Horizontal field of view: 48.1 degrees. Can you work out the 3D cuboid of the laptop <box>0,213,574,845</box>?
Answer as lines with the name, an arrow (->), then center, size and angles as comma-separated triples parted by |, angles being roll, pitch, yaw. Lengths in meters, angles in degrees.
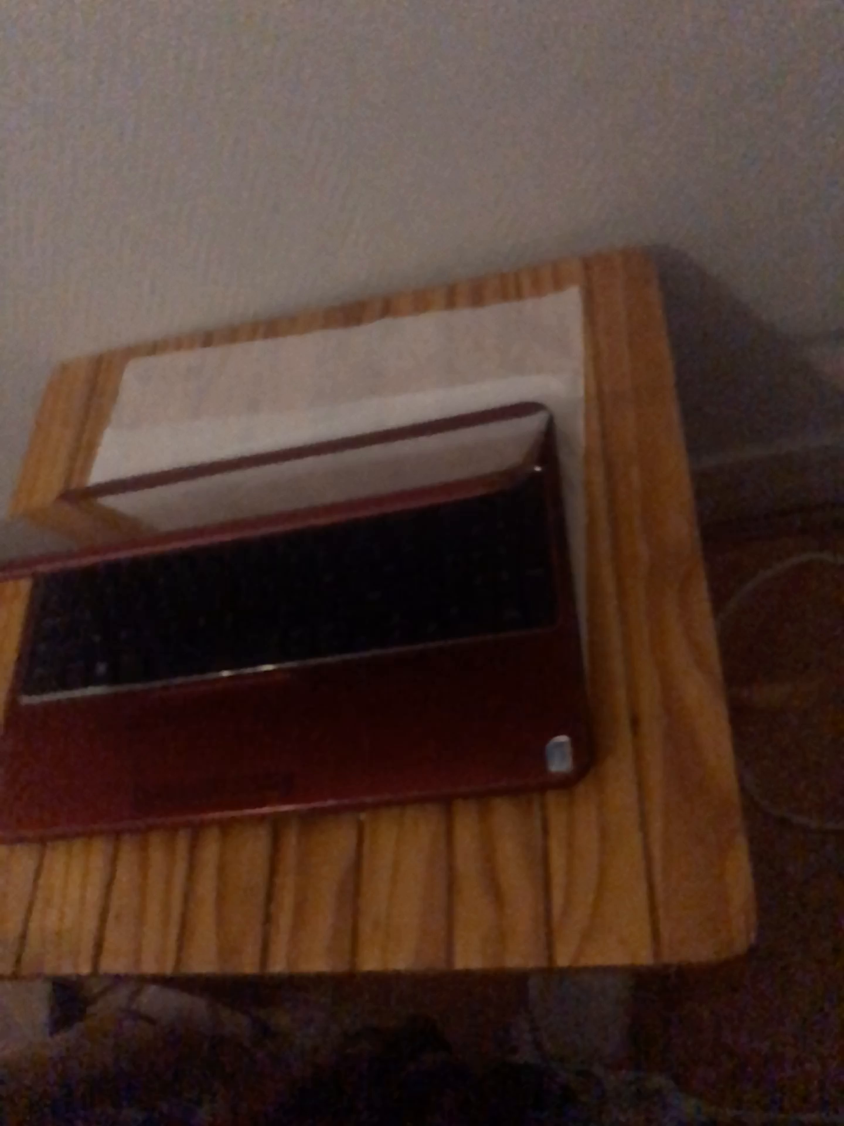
laptop -> -0.123, -0.011, 0.549 | 0.372, 0.168, 0.254 | -9, 57, 9
